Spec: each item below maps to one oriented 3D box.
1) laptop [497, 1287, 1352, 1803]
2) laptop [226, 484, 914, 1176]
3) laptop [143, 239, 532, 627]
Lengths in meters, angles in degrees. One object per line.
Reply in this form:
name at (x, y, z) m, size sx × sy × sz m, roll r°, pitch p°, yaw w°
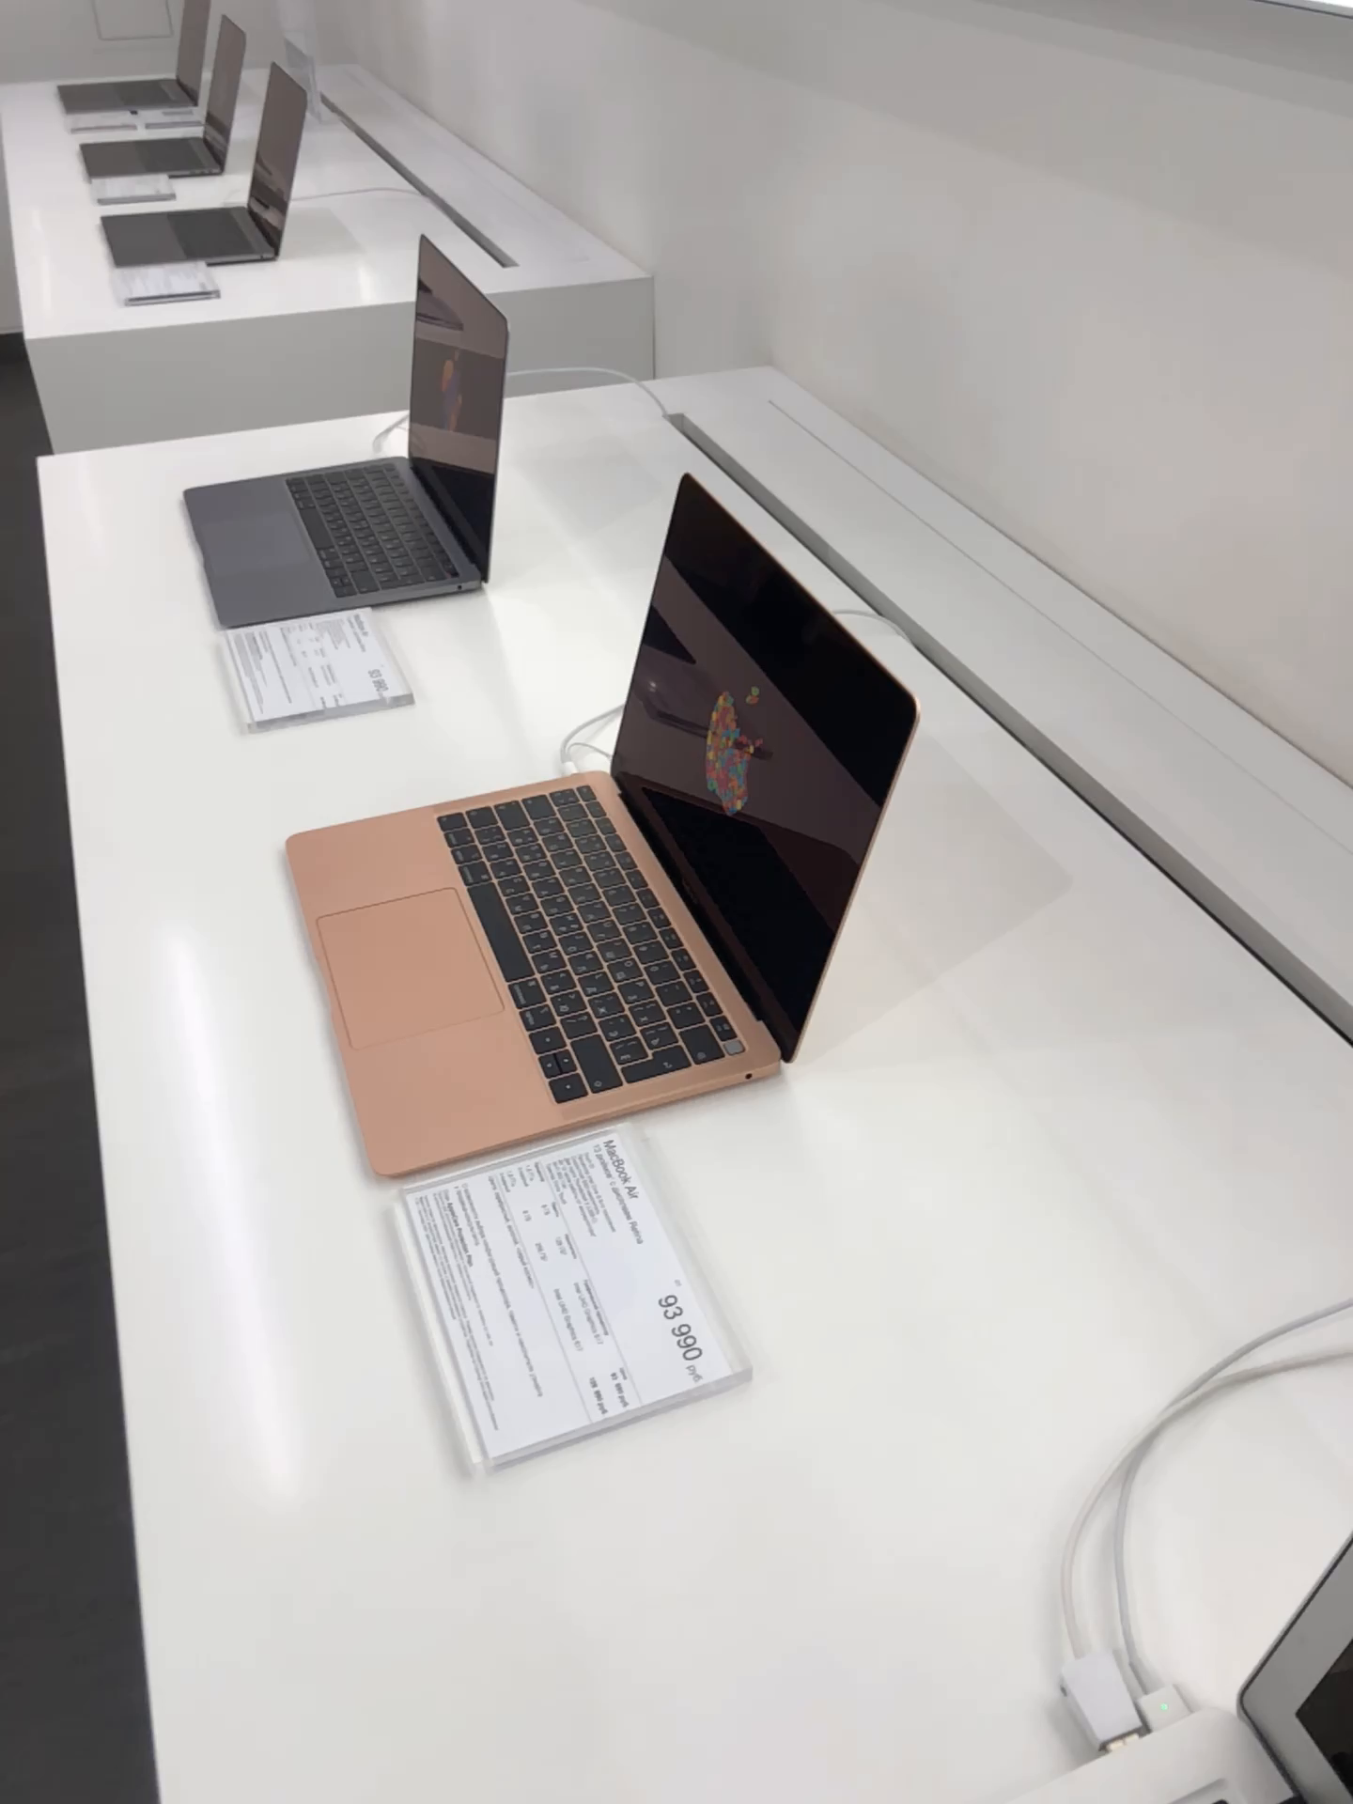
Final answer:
laptop at (0.167, 0.313, 0.266) m, size 0.282 × 0.209 × 0.365 m, roll -13°, pitch 39°, yaw -16°
laptop at (-0.071, -0.059, 0.781) m, size 0.263 × 0.188 × 0.298 m, roll -13°, pitch 38°, yaw -15°
laptop at (-0.290, -0.407, 1.252) m, size 0.248 × 0.204 × 0.295 m, roll -13°, pitch 38°, yaw -14°
